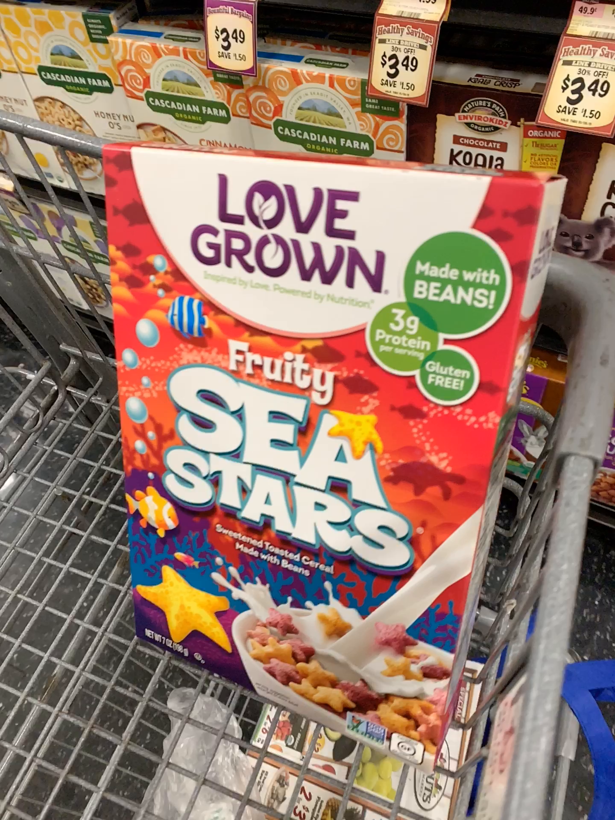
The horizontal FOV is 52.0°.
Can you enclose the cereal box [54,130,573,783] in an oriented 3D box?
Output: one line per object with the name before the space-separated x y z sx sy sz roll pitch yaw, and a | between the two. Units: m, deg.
cereal box | -0.010 0.019 0.276 0.180 0.249 0.050 15 28 23
